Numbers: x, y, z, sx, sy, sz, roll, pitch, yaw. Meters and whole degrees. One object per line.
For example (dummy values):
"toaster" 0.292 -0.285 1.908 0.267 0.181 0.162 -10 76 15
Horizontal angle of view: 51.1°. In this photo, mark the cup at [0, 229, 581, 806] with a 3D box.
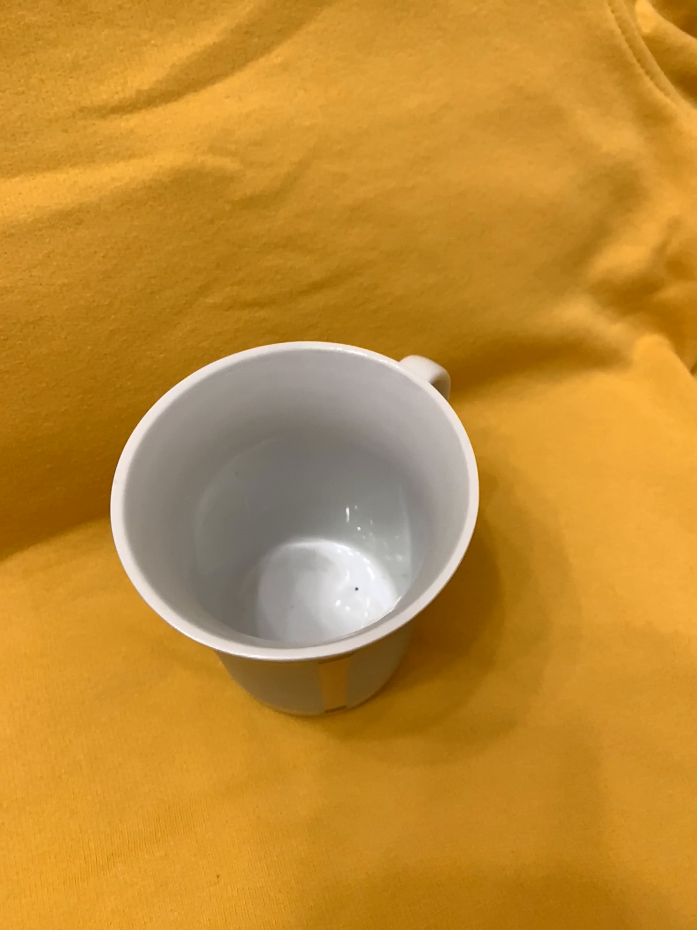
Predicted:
"cup" -0.013 0.018 0.235 0.098 0.104 0.121 36 64 18
